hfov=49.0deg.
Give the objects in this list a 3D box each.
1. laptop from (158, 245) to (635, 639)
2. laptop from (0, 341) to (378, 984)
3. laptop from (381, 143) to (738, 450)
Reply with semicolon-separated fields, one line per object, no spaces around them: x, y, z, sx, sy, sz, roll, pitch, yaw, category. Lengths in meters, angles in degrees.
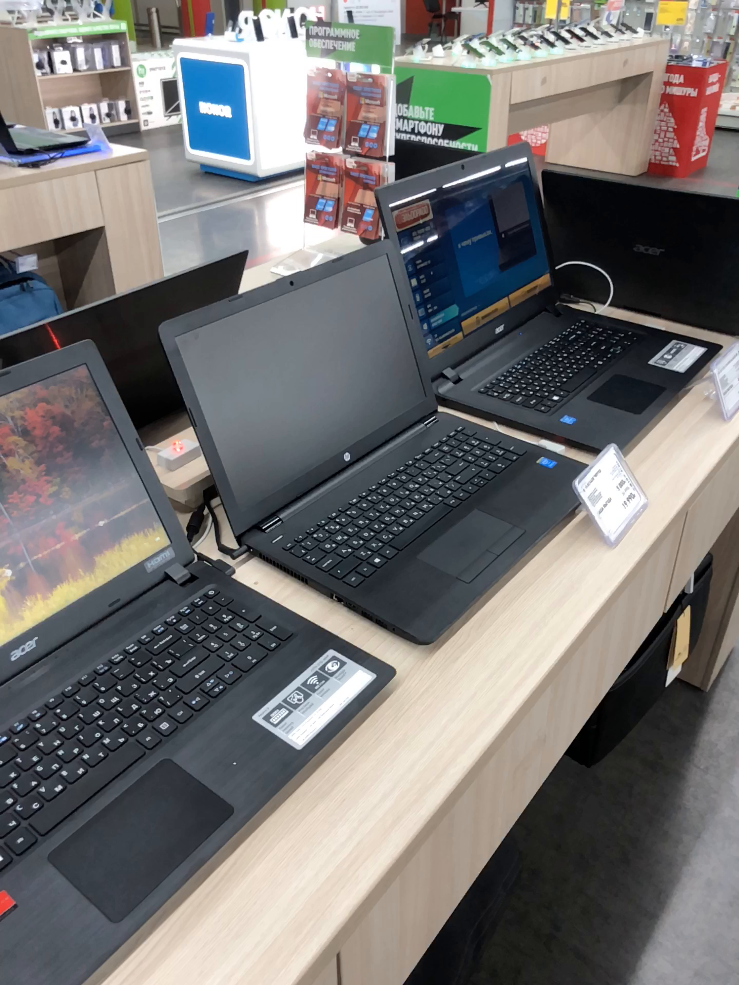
0.041;-0.092;0.909;0.334;0.215;0.378;24;40;30;laptop
-0.227;0.085;0.630;0.350;0.226;0.360;22;38;31;laptop
0.289;-0.323;1.205;0.395;0.267;0.398;23;40;33;laptop
